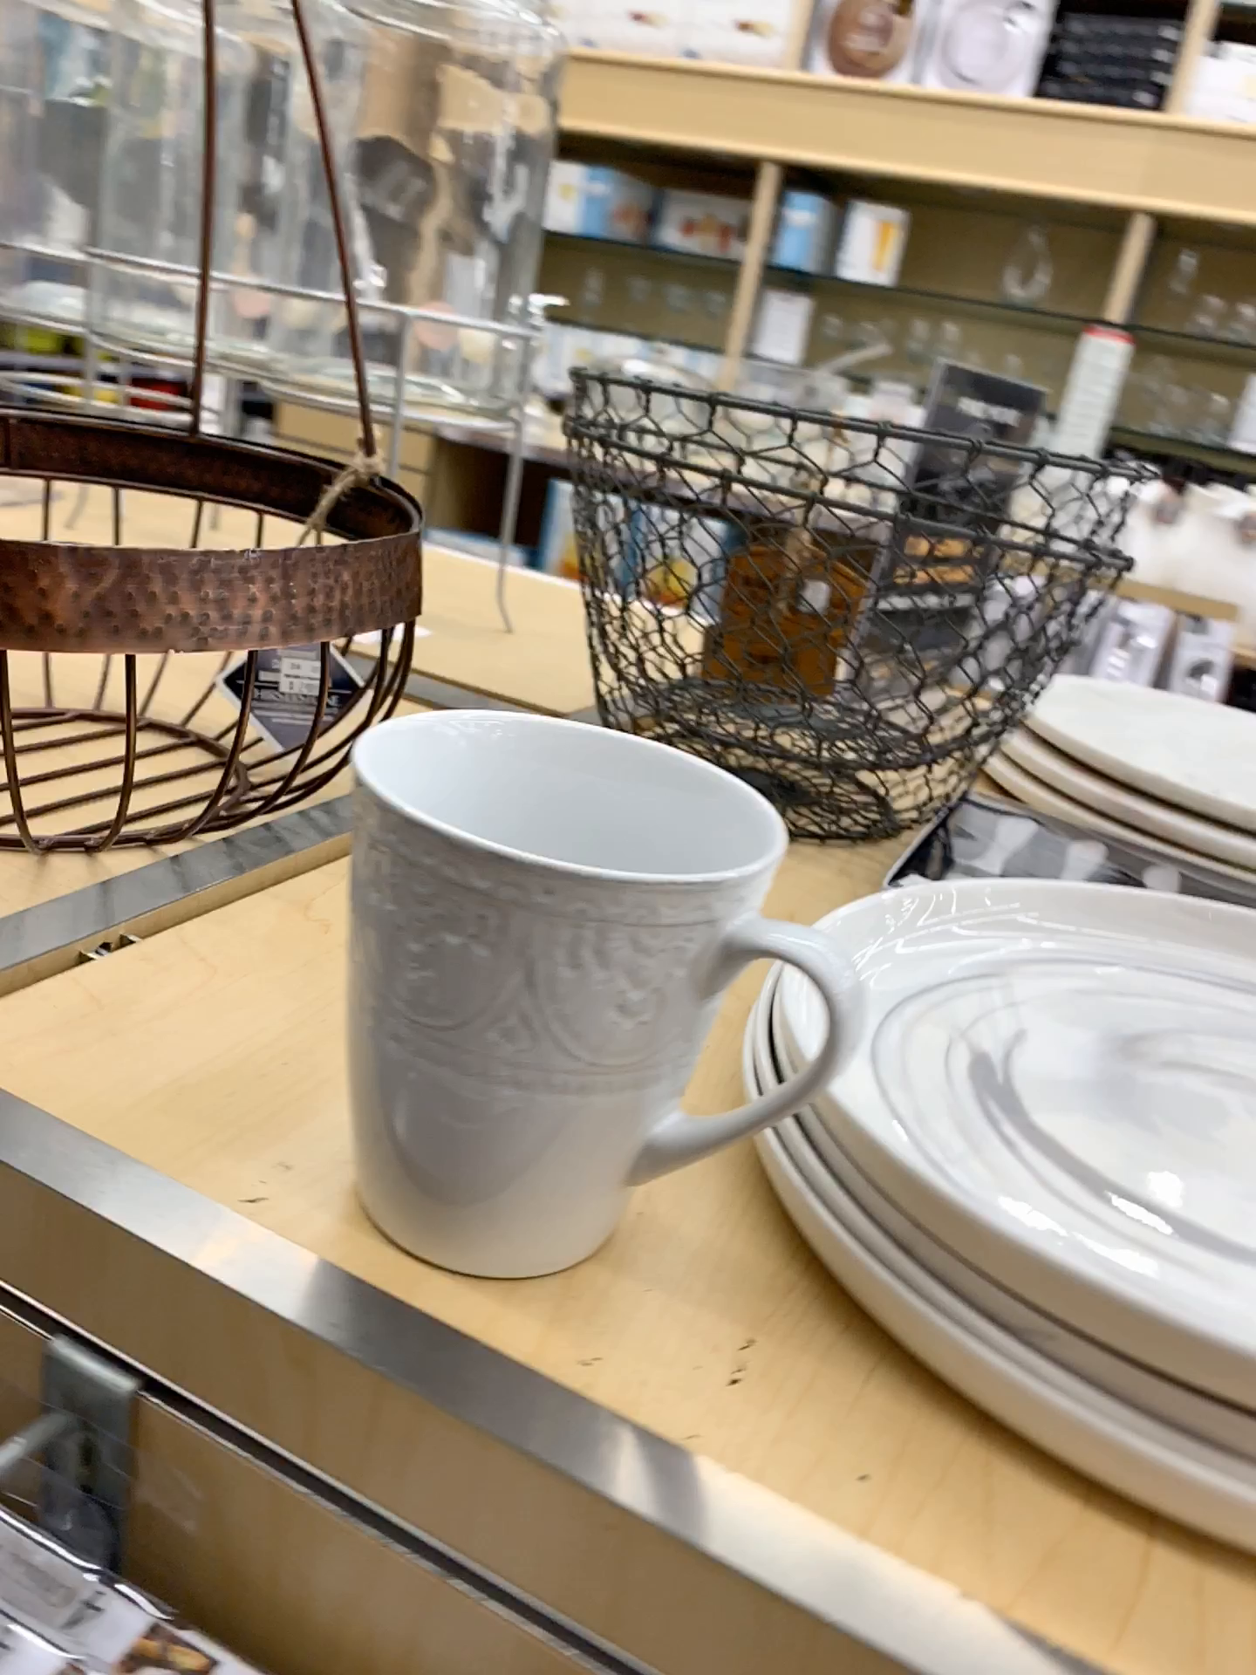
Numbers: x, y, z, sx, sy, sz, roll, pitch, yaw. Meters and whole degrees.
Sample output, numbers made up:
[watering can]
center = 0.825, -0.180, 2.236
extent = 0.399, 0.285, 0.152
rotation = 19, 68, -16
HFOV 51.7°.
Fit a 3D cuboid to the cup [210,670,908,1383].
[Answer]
[cup]
center = -0.017, 0.034, 0.320
extent = 0.124, 0.107, 0.099
rotation = 20, 23, 23
